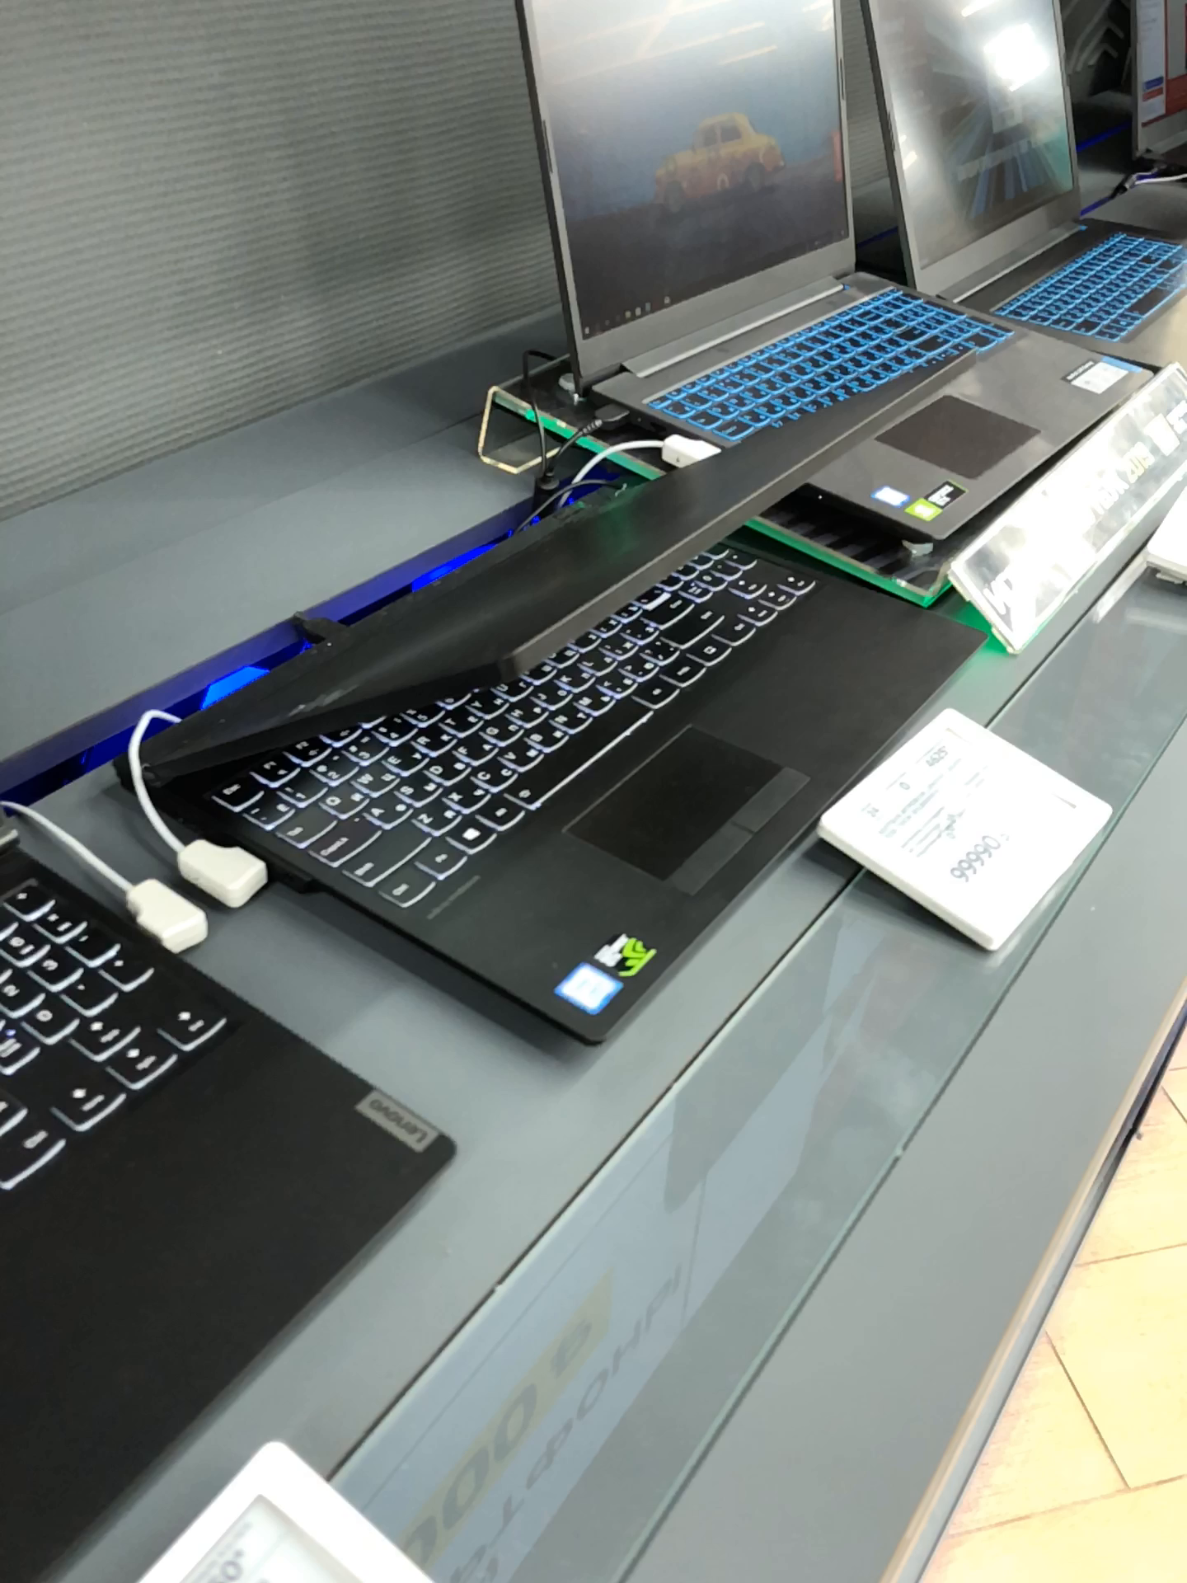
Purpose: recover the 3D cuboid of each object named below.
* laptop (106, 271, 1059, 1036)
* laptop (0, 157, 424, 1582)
[{"bbox_3d":[0.018,-0.098,0.573,0.228,0.136,0.354,26,43,26],"label":"laptop"},{"bbox_3d":[-0.269,0.049,0.288,0.308,0.231,0.365,27,44,27],"label":"laptop"}]
